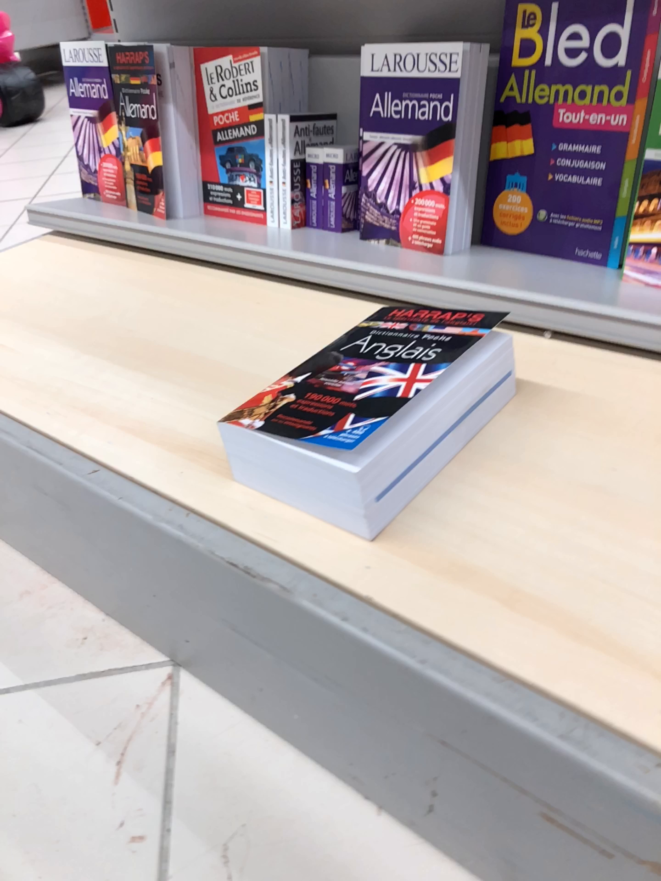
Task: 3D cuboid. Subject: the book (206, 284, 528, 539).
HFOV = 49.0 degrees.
[{"bbox_3d":[0.031,-0.031,0.463,0.115,0.057,0.182,19,42,34],"label":"book"}]
